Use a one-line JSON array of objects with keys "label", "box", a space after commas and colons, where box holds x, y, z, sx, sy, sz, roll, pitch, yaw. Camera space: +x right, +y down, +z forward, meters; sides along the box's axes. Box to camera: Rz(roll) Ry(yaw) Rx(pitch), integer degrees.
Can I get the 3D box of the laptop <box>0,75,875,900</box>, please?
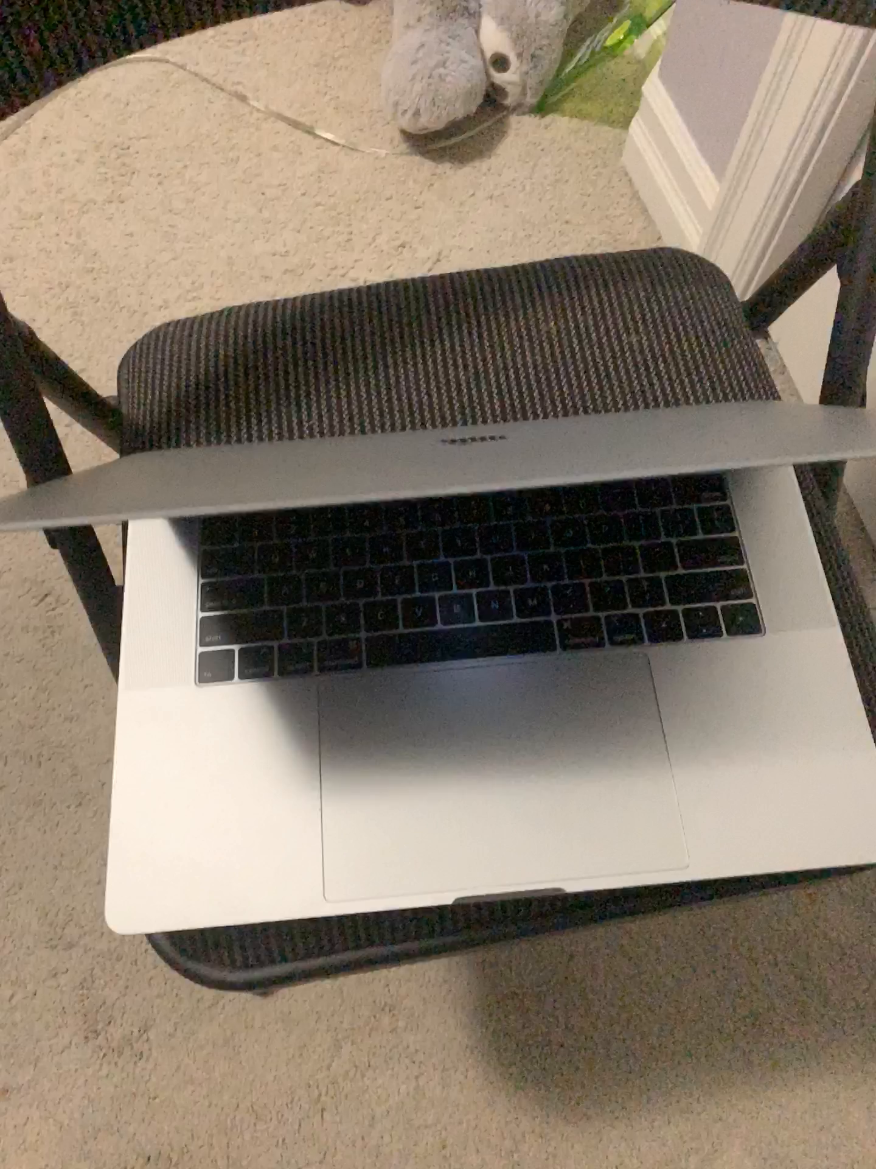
[{"label": "laptop", "box": [0.022, -0.018, 0.342, 0.333, 0.189, 0.231, -5, 67, -1]}]
